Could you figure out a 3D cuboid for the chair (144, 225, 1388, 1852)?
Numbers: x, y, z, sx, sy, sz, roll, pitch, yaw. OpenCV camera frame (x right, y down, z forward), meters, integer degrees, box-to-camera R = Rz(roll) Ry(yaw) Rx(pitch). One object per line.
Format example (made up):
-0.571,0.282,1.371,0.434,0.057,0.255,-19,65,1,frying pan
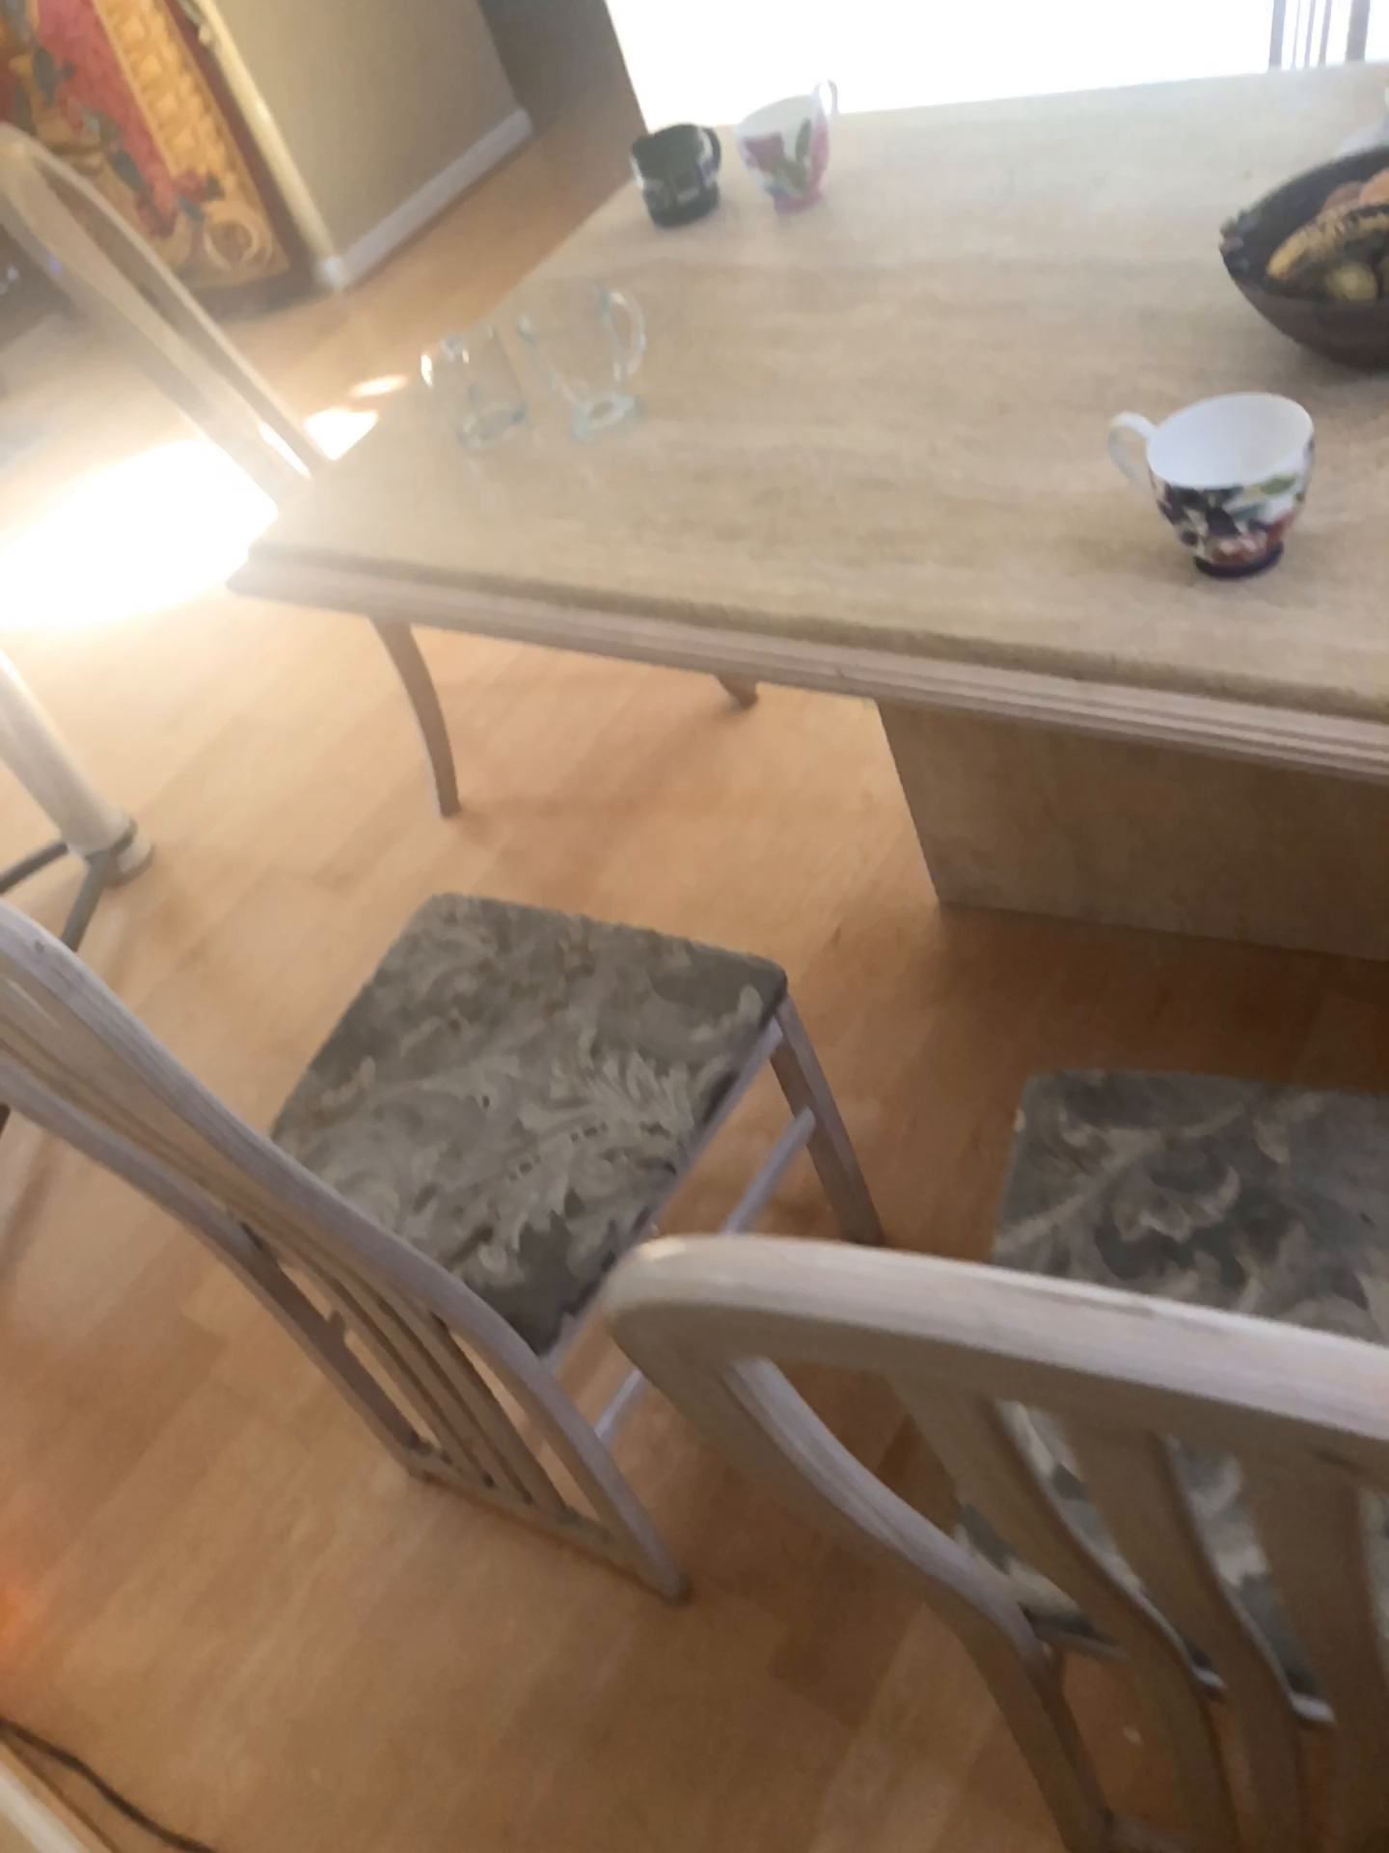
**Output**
0.270,0.242,1.049,0.480,1.142,0.564,8,51,31,chair

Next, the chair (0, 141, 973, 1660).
-0.206,0.066,1.305,0.481,1.142,0.563,12,55,33,chair
